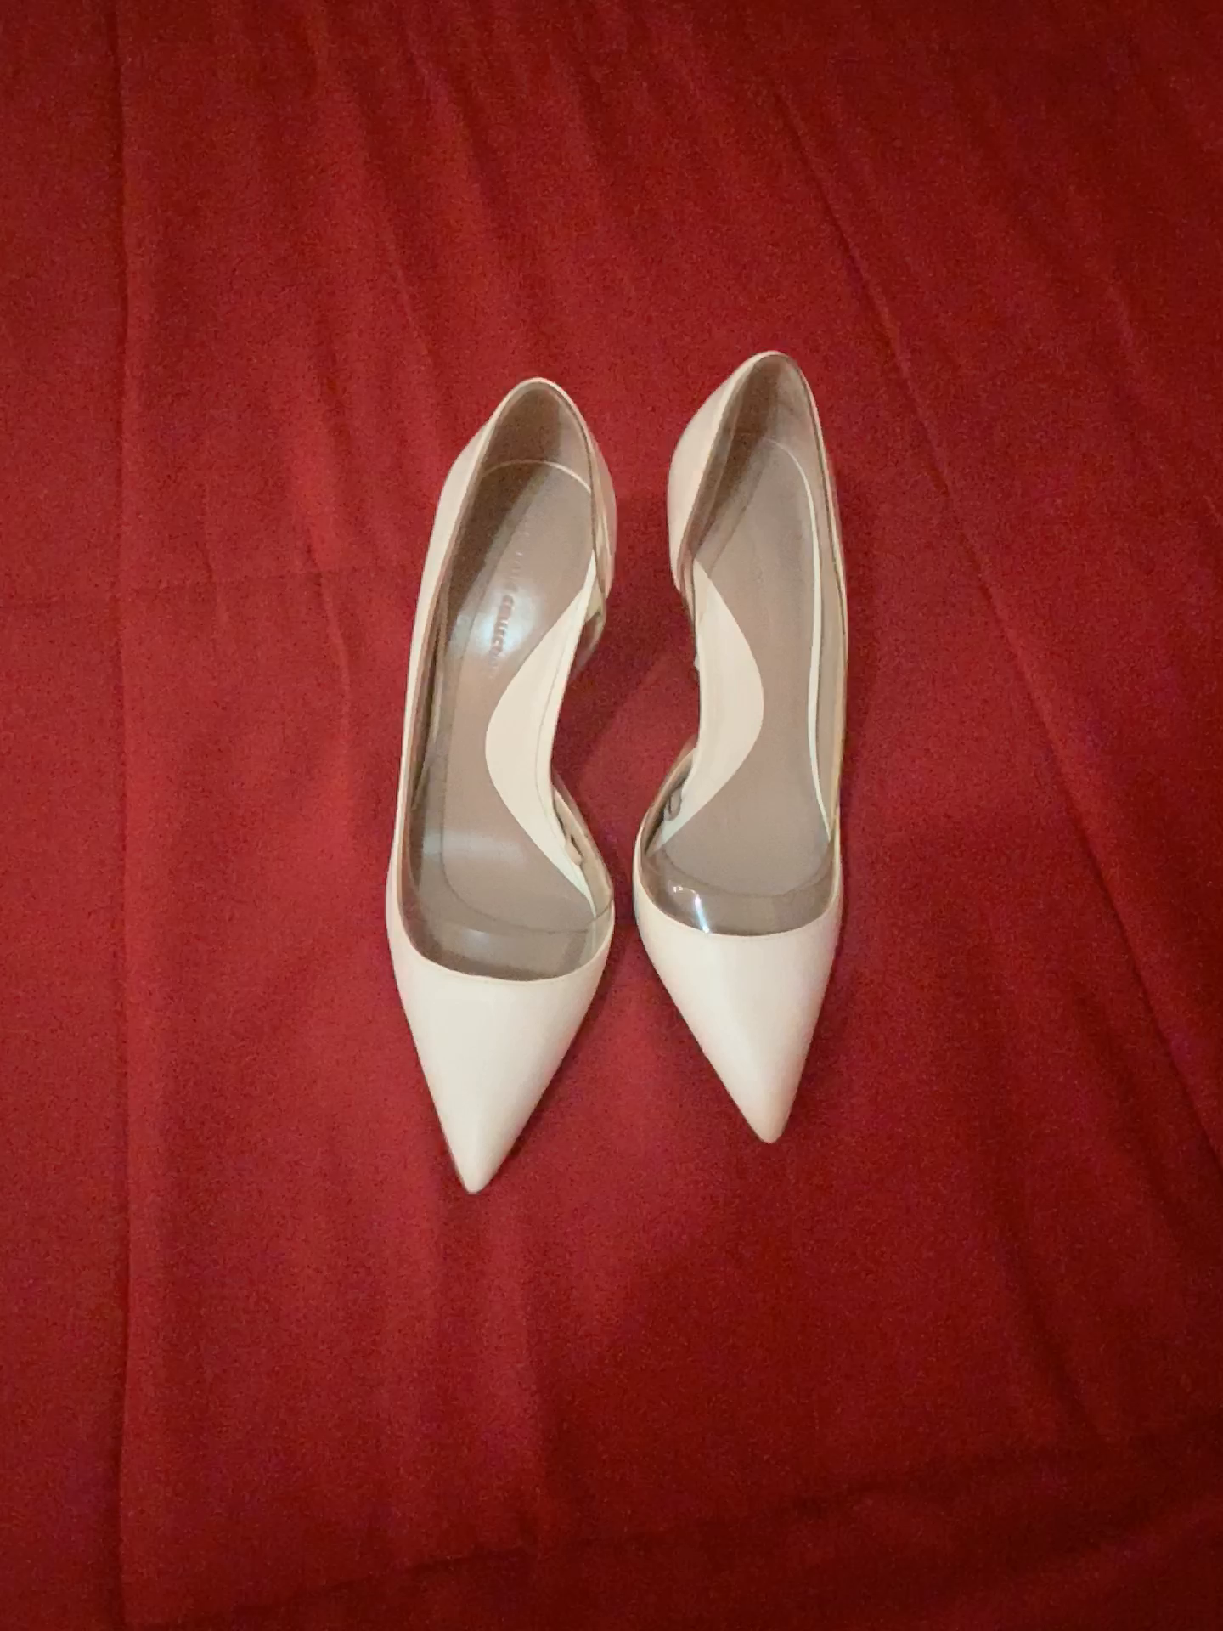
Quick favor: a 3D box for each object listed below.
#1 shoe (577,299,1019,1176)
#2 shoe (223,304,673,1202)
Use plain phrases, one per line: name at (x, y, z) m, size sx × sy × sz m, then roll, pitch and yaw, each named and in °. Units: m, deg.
shoe at (0.044, -0.024, 0.404) m, size 0.097 × 0.140 × 0.241 m, roll 3°, pitch 61°, yaw -2°
shoe at (-0.036, -0.019, 0.395) m, size 0.097 × 0.136 × 0.244 m, roll 3°, pitch 61°, yaw -2°
